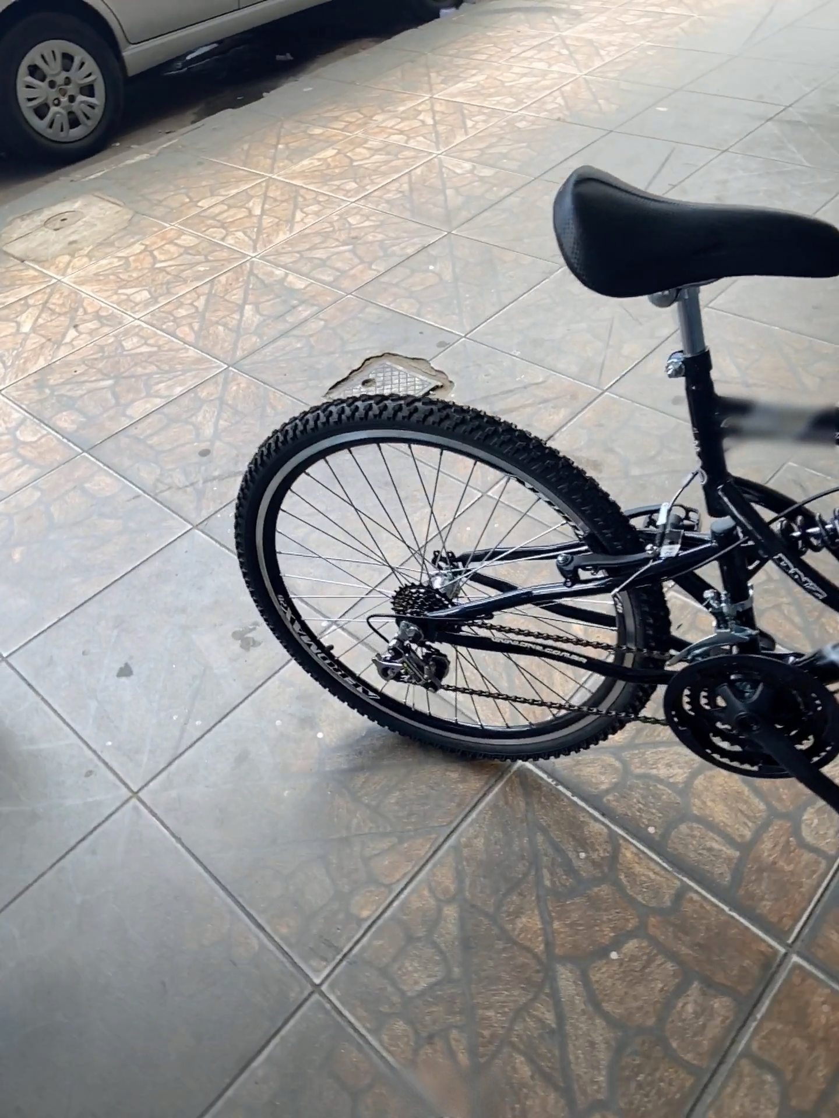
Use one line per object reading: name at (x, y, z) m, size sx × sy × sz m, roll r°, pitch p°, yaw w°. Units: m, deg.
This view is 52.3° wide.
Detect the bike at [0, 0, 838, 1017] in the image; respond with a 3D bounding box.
bike at (0.445, -0.123, 0.933) m, size 1.584 × 1.154 × 0.606 m, roll 3°, pitch 48°, yaw 15°
